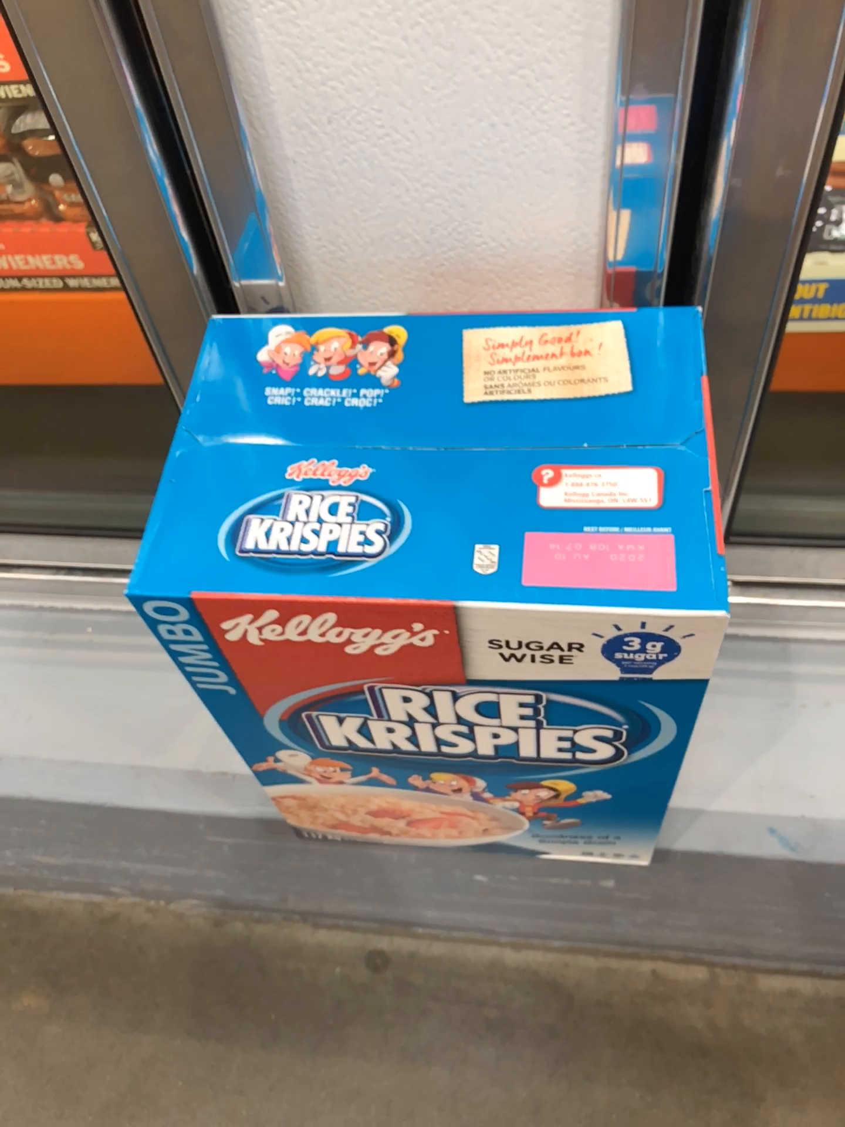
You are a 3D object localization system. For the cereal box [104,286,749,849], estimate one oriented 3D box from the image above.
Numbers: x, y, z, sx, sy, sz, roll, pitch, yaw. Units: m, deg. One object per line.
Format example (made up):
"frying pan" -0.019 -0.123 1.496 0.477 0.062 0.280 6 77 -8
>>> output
"cereal box" 0.021 0.027 0.524 0.240 0.319 0.160 1 59 8
